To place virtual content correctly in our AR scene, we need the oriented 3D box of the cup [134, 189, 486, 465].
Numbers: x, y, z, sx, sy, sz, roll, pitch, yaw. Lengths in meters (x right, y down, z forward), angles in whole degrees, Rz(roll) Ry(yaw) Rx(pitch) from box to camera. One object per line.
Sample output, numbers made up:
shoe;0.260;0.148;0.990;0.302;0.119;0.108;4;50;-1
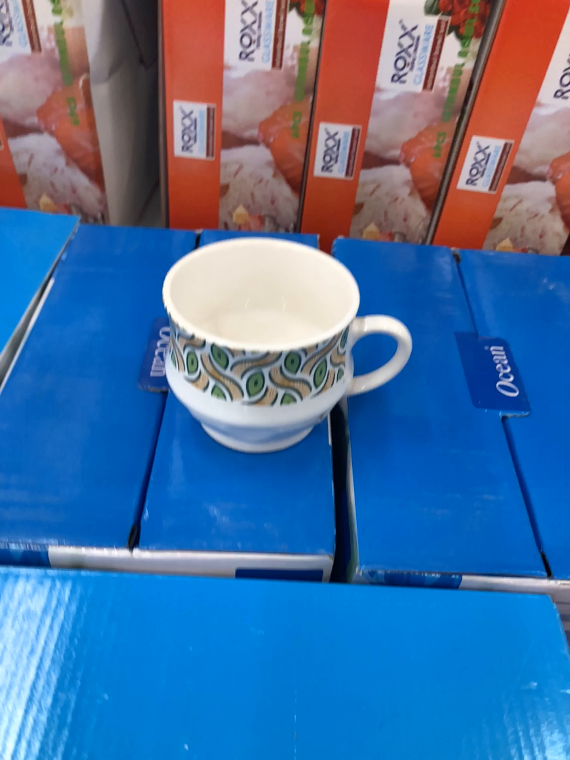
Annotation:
cup;0.005;-0.019;0.226;0.100;0.060;0.070;4;44;-4
